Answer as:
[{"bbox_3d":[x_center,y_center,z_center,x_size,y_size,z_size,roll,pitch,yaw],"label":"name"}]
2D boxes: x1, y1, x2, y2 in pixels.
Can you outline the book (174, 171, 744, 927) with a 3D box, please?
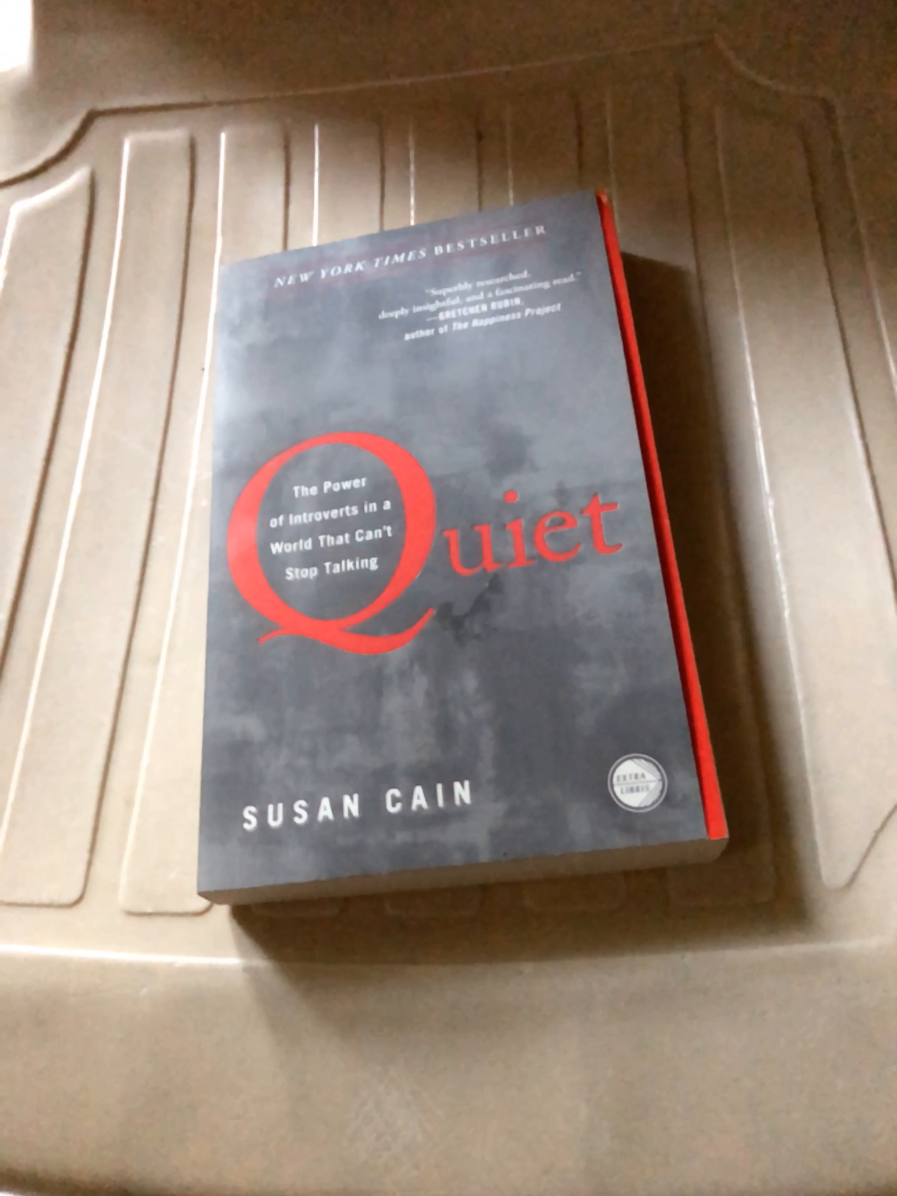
[{"bbox_3d":[-0.005,-0.020,0.279,0.130,0.030,0.200,-8,66,7],"label":"book"}]
